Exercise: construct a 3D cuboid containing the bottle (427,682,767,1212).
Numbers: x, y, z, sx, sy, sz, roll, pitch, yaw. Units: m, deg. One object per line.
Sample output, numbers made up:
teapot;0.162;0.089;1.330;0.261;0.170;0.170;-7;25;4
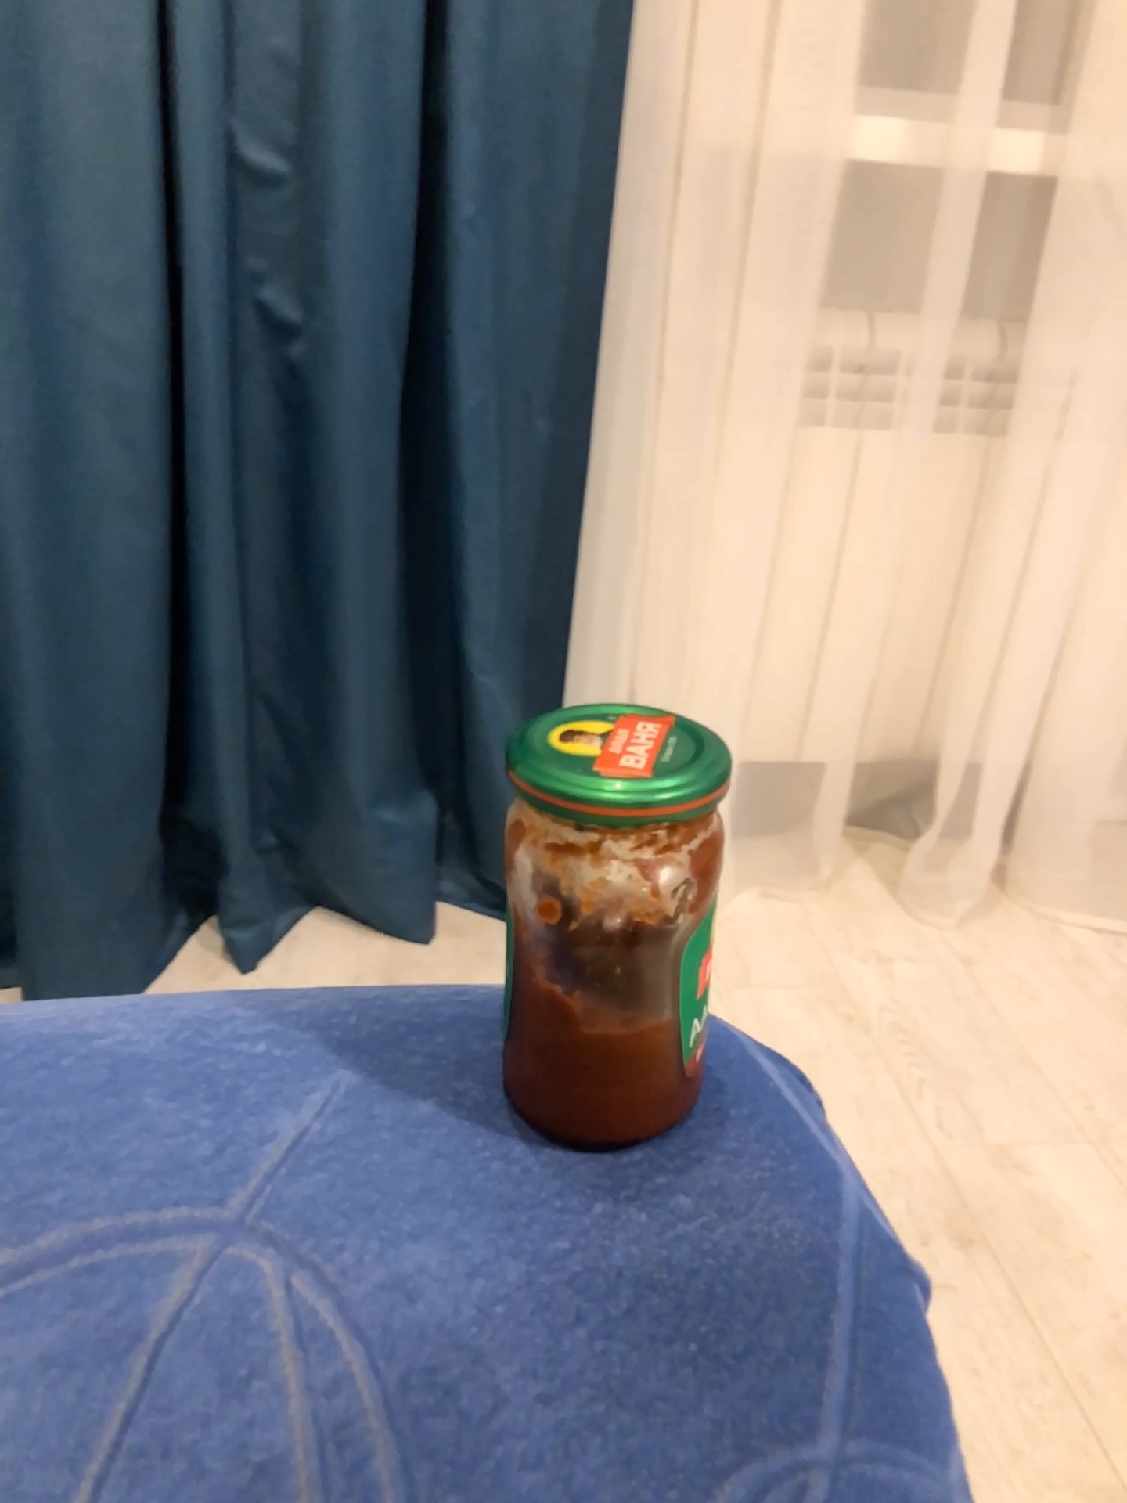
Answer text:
bottle;0.009;0.041;0.280;0.060;0.092;0.060;1;24;0
